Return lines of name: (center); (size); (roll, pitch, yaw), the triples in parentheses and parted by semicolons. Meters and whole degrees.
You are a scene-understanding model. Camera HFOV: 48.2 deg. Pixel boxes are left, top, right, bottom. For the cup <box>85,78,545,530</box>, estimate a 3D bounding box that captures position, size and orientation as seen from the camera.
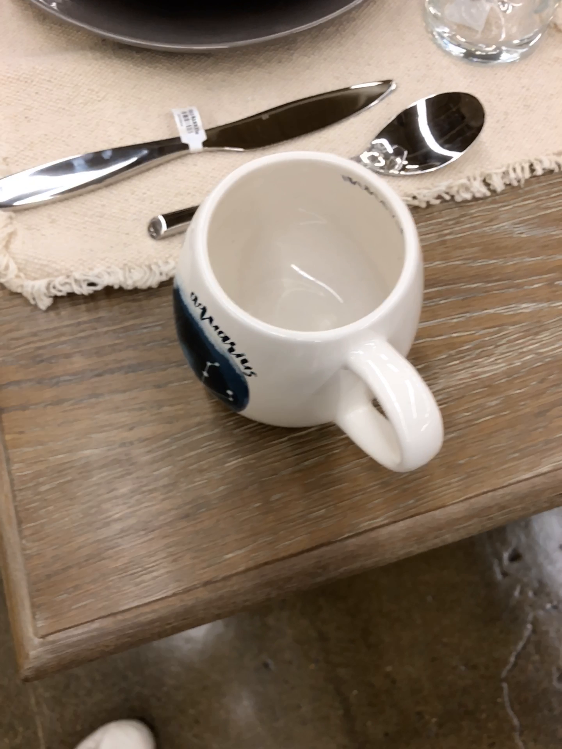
cup: (0.008, -0.023, 0.245); (0.082, 0.081, 0.134); (-40, 76, -15)
